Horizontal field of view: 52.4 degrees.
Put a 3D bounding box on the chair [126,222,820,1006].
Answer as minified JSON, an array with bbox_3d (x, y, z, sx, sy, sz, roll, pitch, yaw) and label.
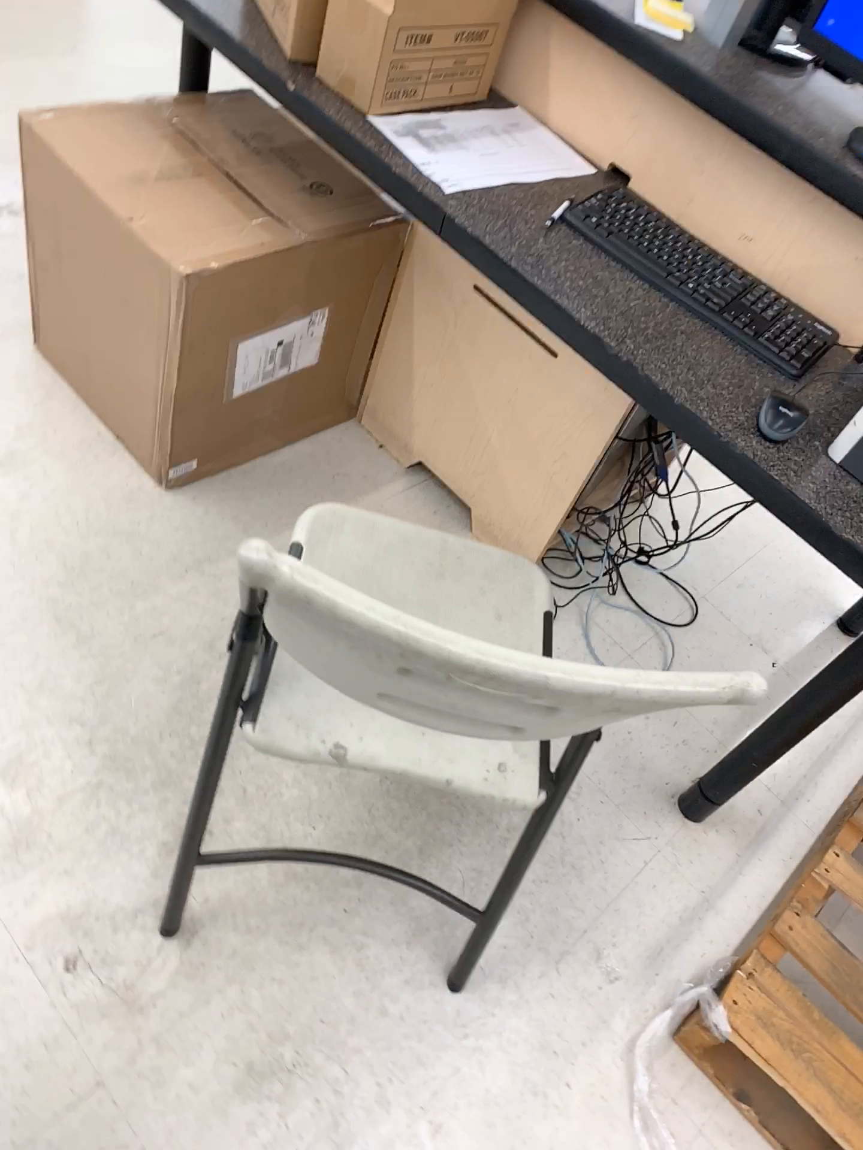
[{"bbox_3d":[-0.023,0.109,1.118,0.530,0.747,0.562,15,48,-9],"label":"chair"}]
